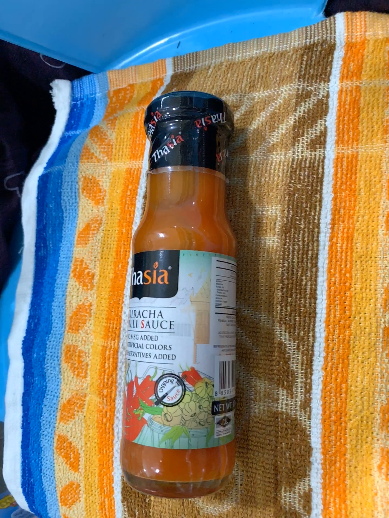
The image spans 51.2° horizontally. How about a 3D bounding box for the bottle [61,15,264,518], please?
[{"bbox_3d":[-0.008,0.001,0.173,0.050,0.050,0.180,-6,75,39],"label":"bottle"}]
